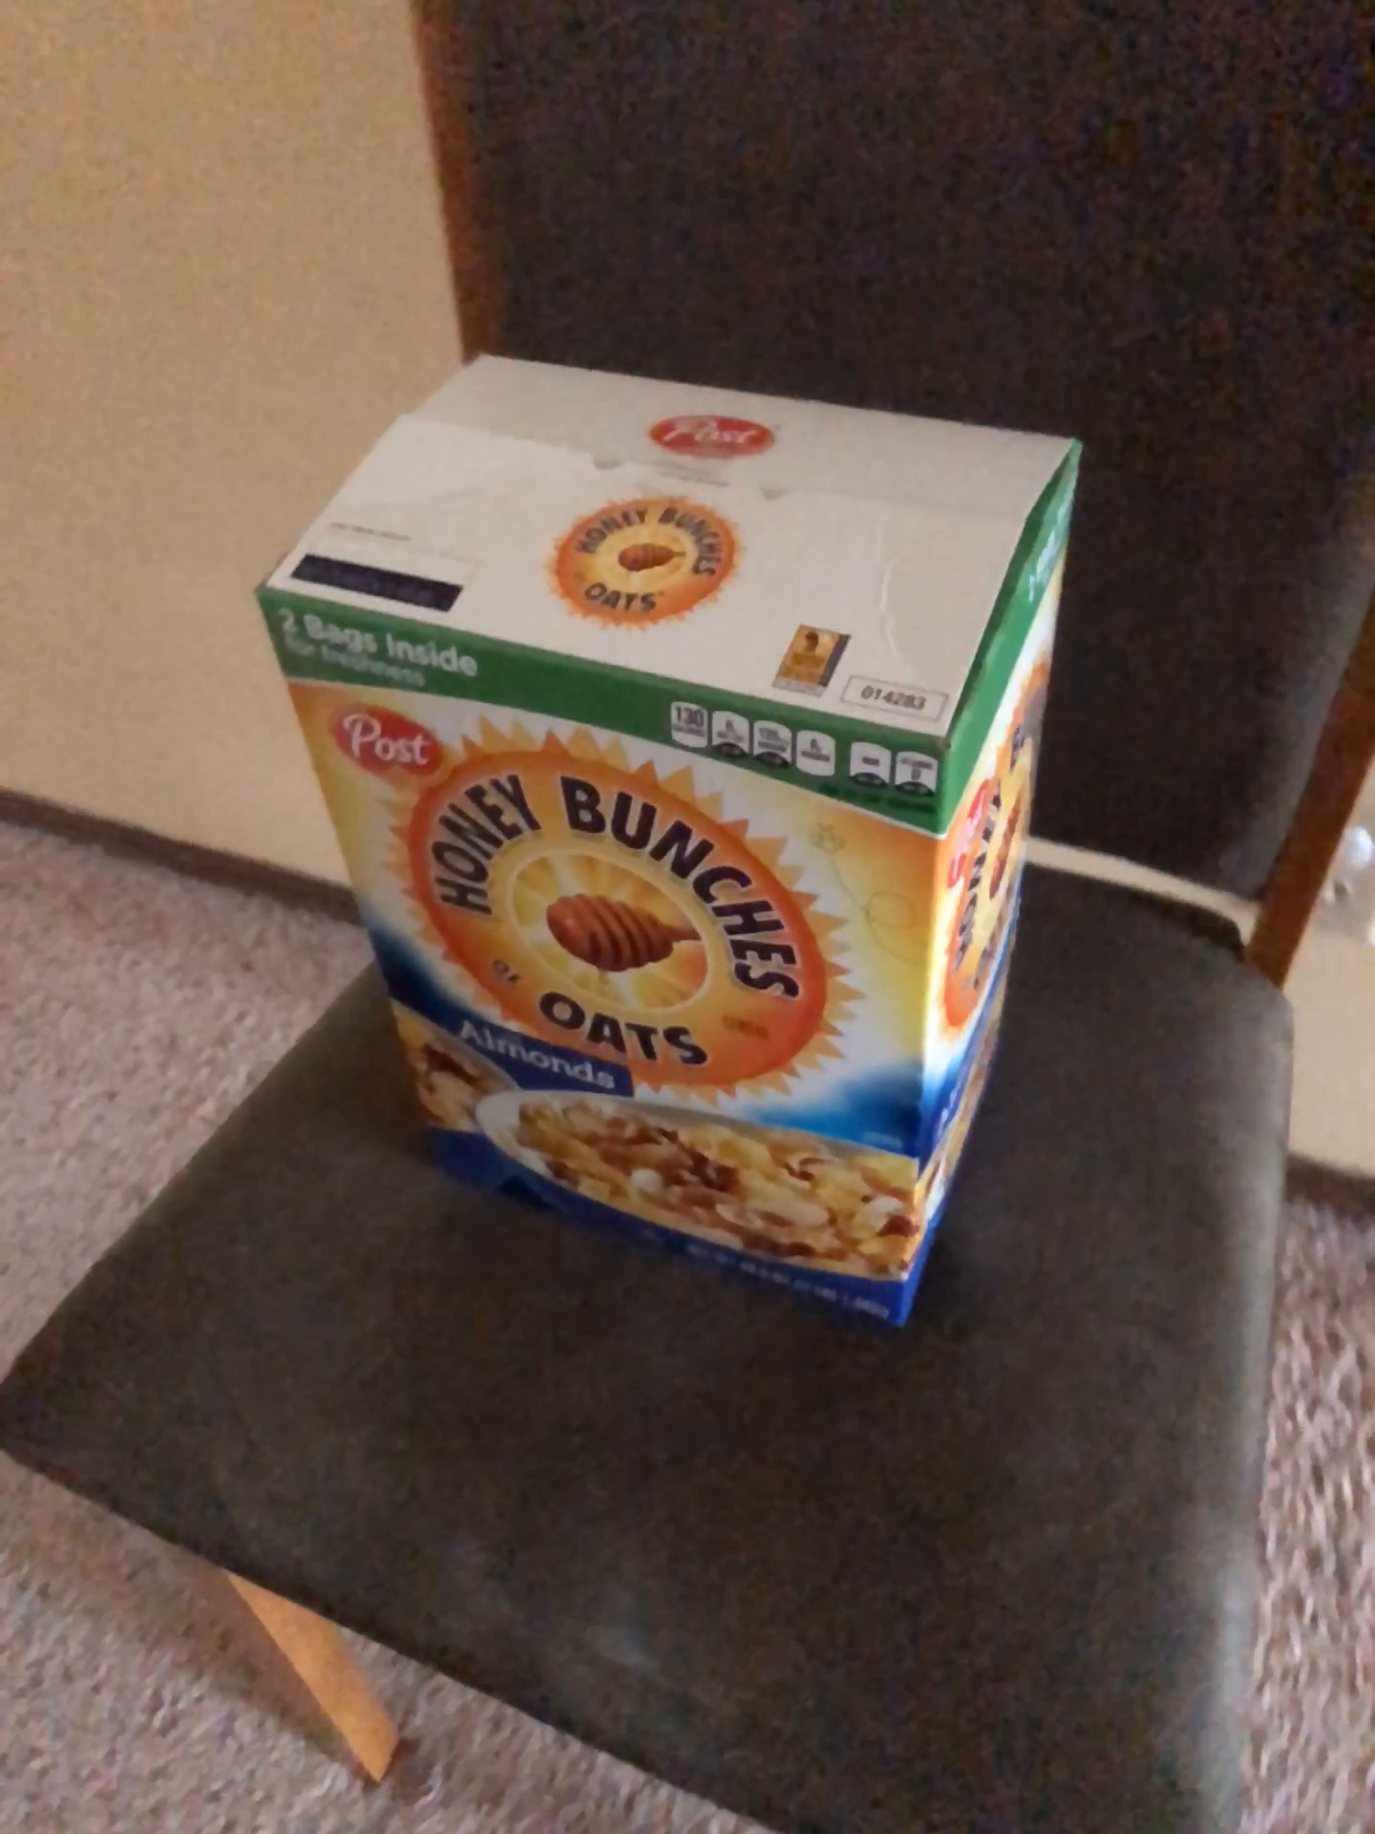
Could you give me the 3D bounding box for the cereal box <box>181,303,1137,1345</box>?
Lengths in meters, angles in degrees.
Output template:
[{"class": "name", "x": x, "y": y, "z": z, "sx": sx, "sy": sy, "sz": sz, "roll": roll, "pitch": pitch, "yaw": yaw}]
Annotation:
[{"class": "cereal box", "x": 0.007, "y": -0.027, "z": 0.524, "sx": 0.220, "sy": 0.279, "sz": 0.160, "roll": 15, "pitch": 49, "yaw": 19}]
